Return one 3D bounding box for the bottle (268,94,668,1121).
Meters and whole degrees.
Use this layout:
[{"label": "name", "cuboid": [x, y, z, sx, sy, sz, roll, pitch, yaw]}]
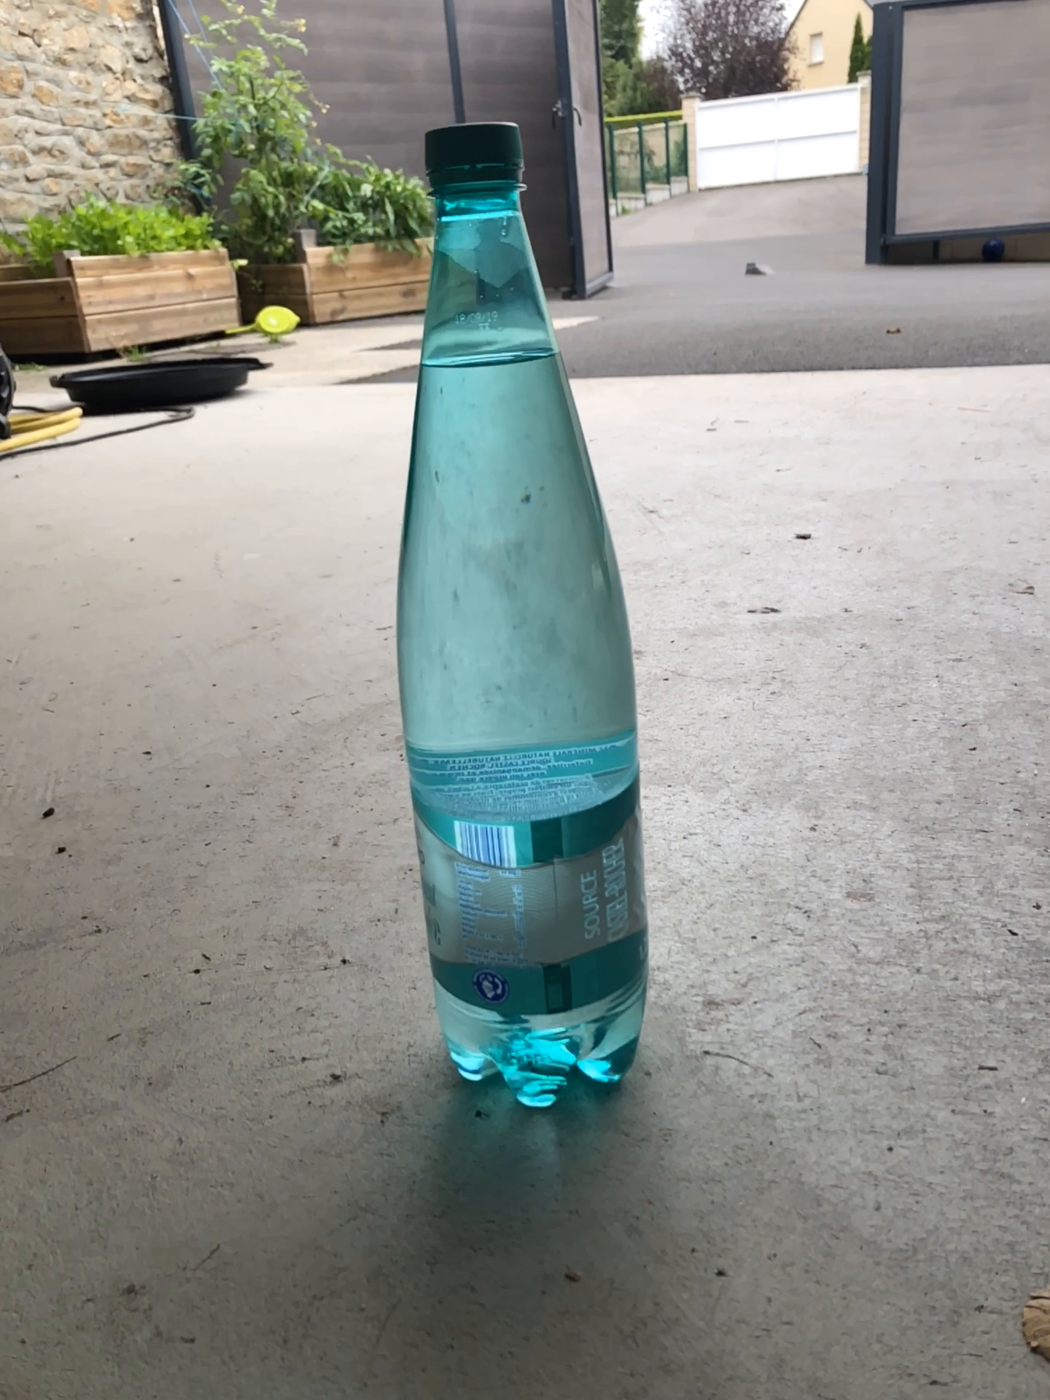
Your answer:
[{"label": "bottle", "cuboid": [-0.009, -0.022, 0.400, 0.090, 0.318, 0.100, -5, 20, 1]}]
